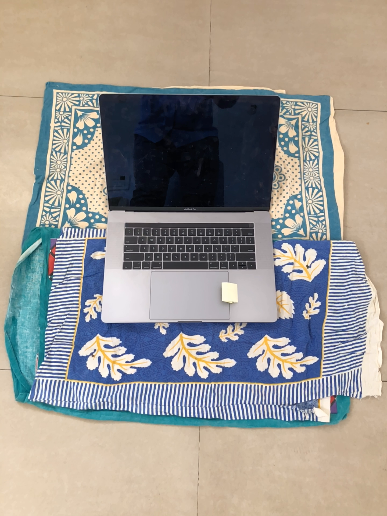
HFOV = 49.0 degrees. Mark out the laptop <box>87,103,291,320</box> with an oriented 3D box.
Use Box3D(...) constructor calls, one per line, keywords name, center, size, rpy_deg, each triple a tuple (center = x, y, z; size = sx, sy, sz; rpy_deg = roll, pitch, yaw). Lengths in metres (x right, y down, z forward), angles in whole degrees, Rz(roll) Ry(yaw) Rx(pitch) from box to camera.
Box3D(name="laptop", center=(-0.008, -0.087, 0.820), size=(0.336, 0.132, 0.402), rpy_deg=(0, 74, -2))
